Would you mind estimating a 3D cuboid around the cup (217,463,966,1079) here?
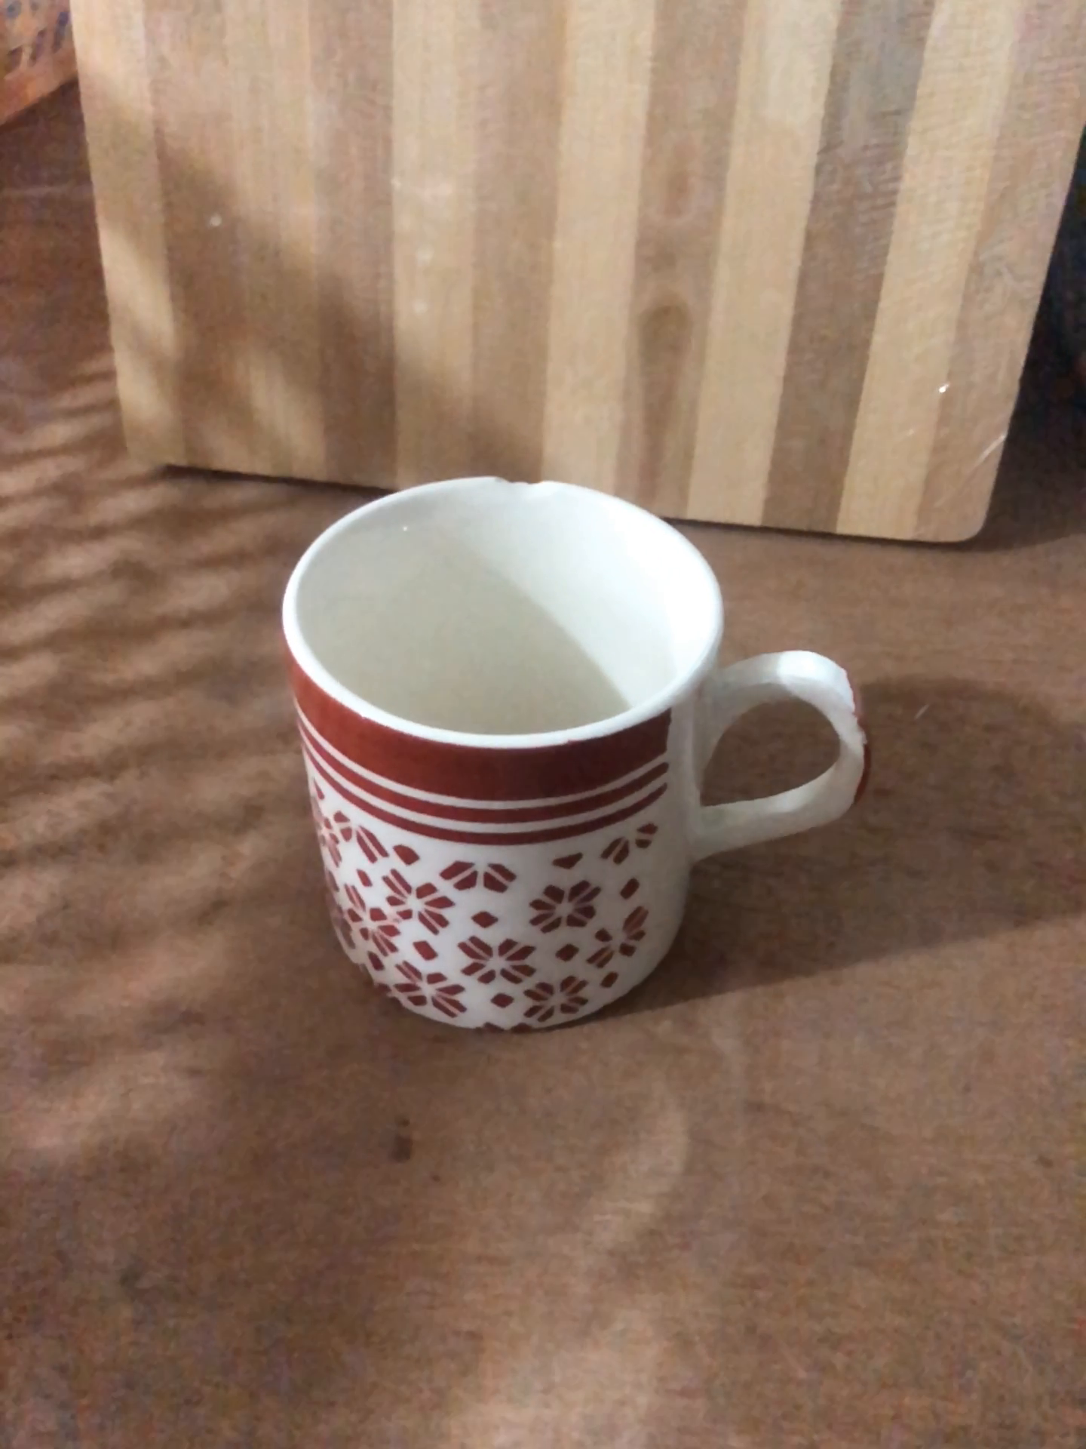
[{"bbox_3d":[0.006,0.009,0.195,0.090,0.080,0.060,0,43,0],"label":"cup"}]
